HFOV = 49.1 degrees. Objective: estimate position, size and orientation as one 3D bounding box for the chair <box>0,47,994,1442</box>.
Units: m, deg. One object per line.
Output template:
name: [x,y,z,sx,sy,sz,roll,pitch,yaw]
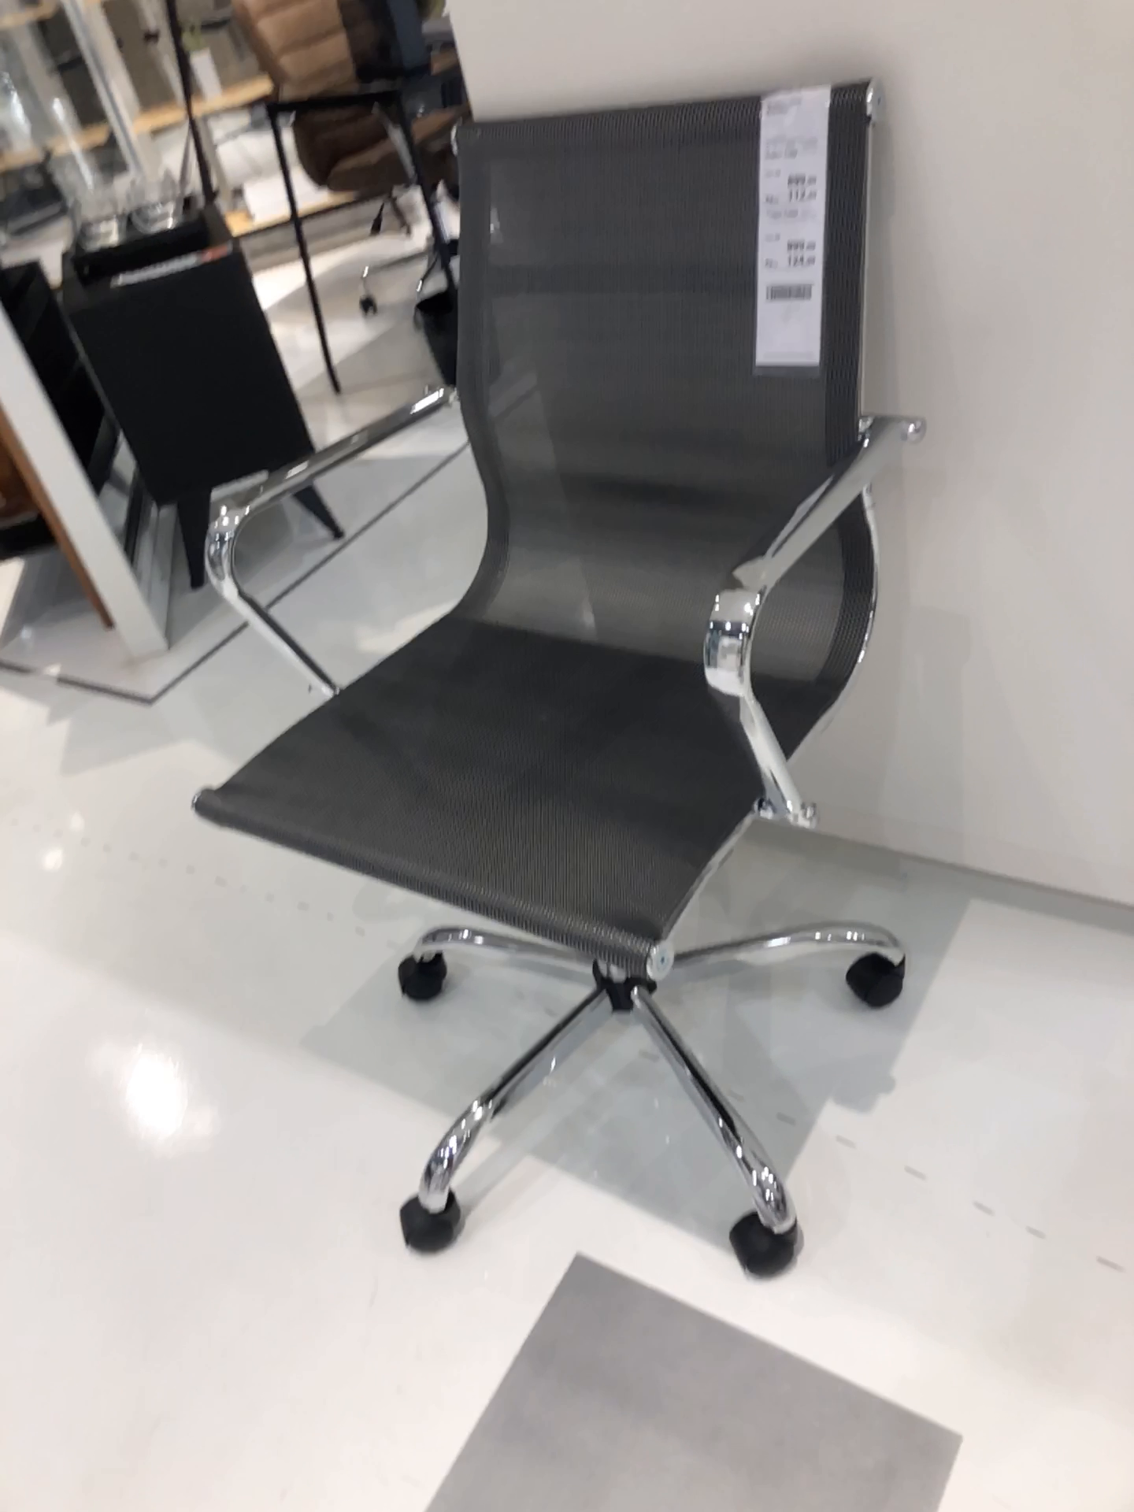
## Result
chair: [-0.035,-0.028,1.147,0.622,0.903,0.653,14,46,34]
